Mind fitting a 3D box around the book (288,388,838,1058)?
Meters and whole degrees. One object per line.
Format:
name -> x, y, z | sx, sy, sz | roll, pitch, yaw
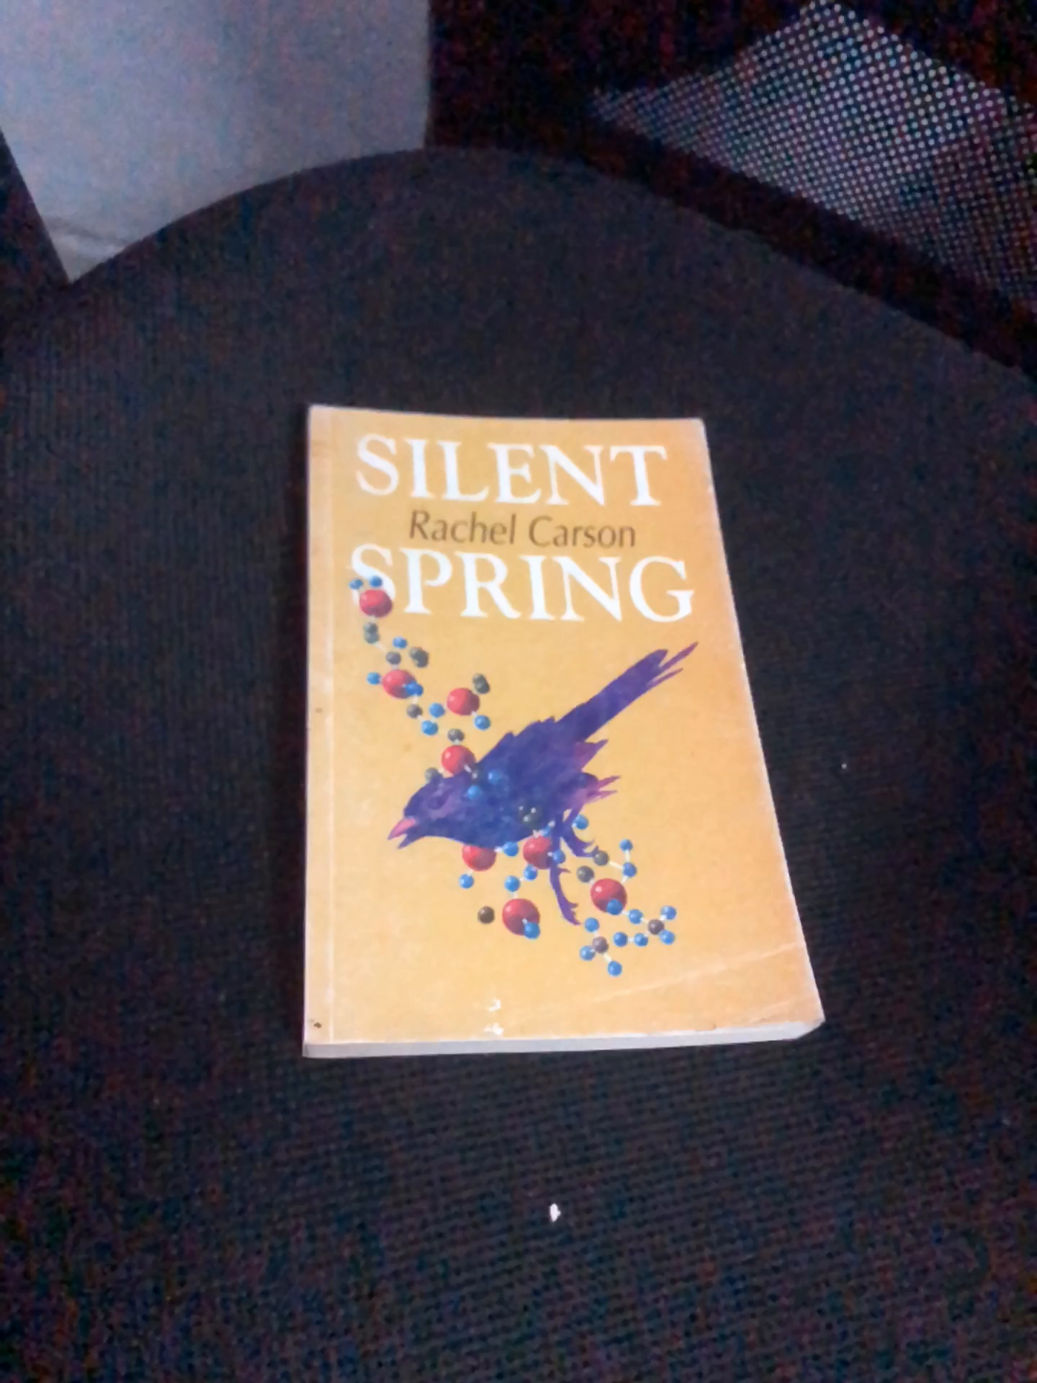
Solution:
book -> 0.004, -0.002, 0.373 | 0.150, 0.030, 0.220 | -1, 62, -9
